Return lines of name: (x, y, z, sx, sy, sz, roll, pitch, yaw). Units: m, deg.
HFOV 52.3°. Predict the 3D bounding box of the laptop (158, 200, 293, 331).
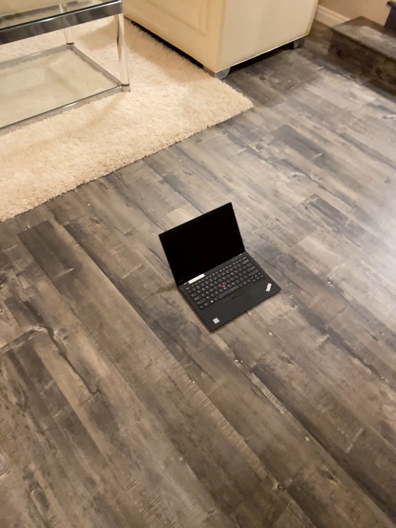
laptop: (0.089, -0.007, 1.457, 0.319, 0.149, 0.356, -27, 62, -24)
